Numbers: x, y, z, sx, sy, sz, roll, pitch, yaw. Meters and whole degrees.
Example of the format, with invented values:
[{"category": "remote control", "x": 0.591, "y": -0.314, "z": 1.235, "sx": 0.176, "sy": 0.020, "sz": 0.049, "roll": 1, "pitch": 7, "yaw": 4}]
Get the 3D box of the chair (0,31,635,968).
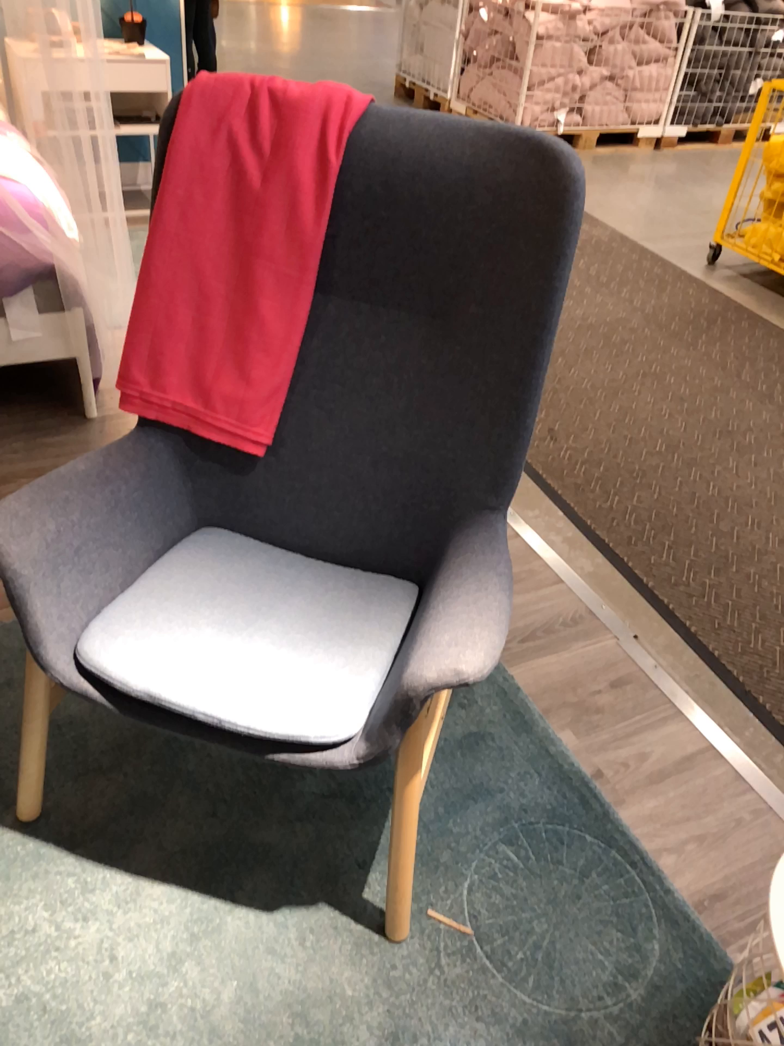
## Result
[{"category": "chair", "x": -0.185, "y": -0.054, "z": 1.256, "sx": 0.790, "sy": 0.996, "sz": 0.703, "roll": 13, "pitch": 37, "yaw": 9}]
